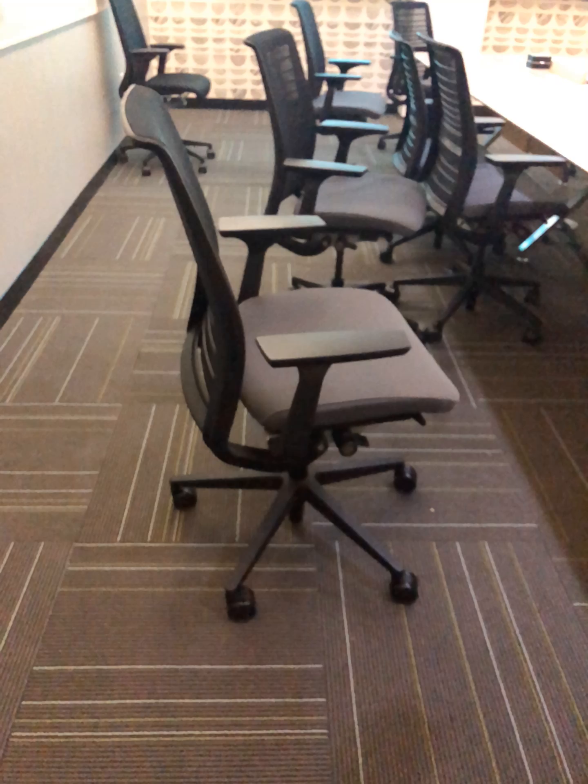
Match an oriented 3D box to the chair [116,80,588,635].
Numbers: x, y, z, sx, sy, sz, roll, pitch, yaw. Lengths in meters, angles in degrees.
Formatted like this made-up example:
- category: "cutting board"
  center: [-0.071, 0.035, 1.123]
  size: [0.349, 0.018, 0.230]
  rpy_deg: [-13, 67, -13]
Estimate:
- category: "chair"
  center: [0.019, -0.130, 1.364]
  size: [0.660, 0.856, 0.724]
  rpy_deg: [-6, 33, -12]
